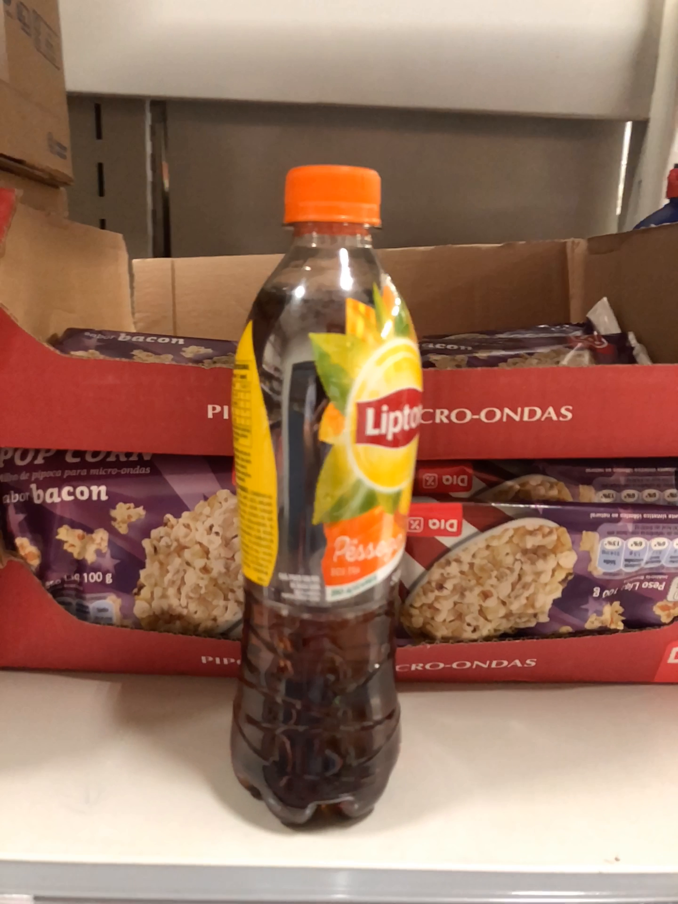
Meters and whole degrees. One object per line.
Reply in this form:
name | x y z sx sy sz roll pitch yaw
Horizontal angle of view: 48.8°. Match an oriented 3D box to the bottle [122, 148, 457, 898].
bottle | -0.016 0.020 0.251 0.070 0.219 0.070 1 16 0
